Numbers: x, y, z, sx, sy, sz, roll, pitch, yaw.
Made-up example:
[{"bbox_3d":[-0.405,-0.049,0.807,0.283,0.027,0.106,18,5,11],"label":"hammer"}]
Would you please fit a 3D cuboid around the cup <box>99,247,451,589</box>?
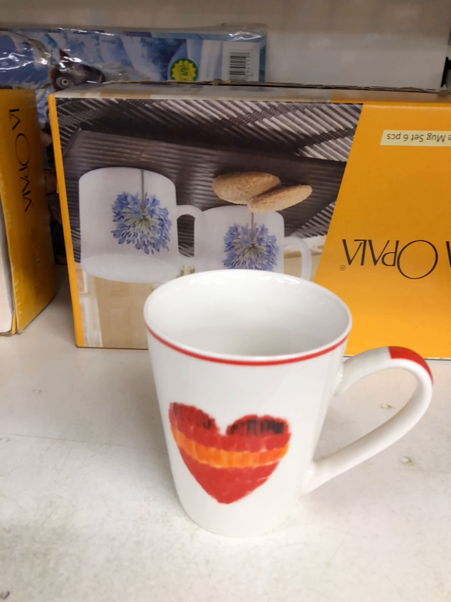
[{"bbox_3d":[0.023,0.042,0.209,0.120,0.099,0.080,4,24,5],"label":"cup"}]
